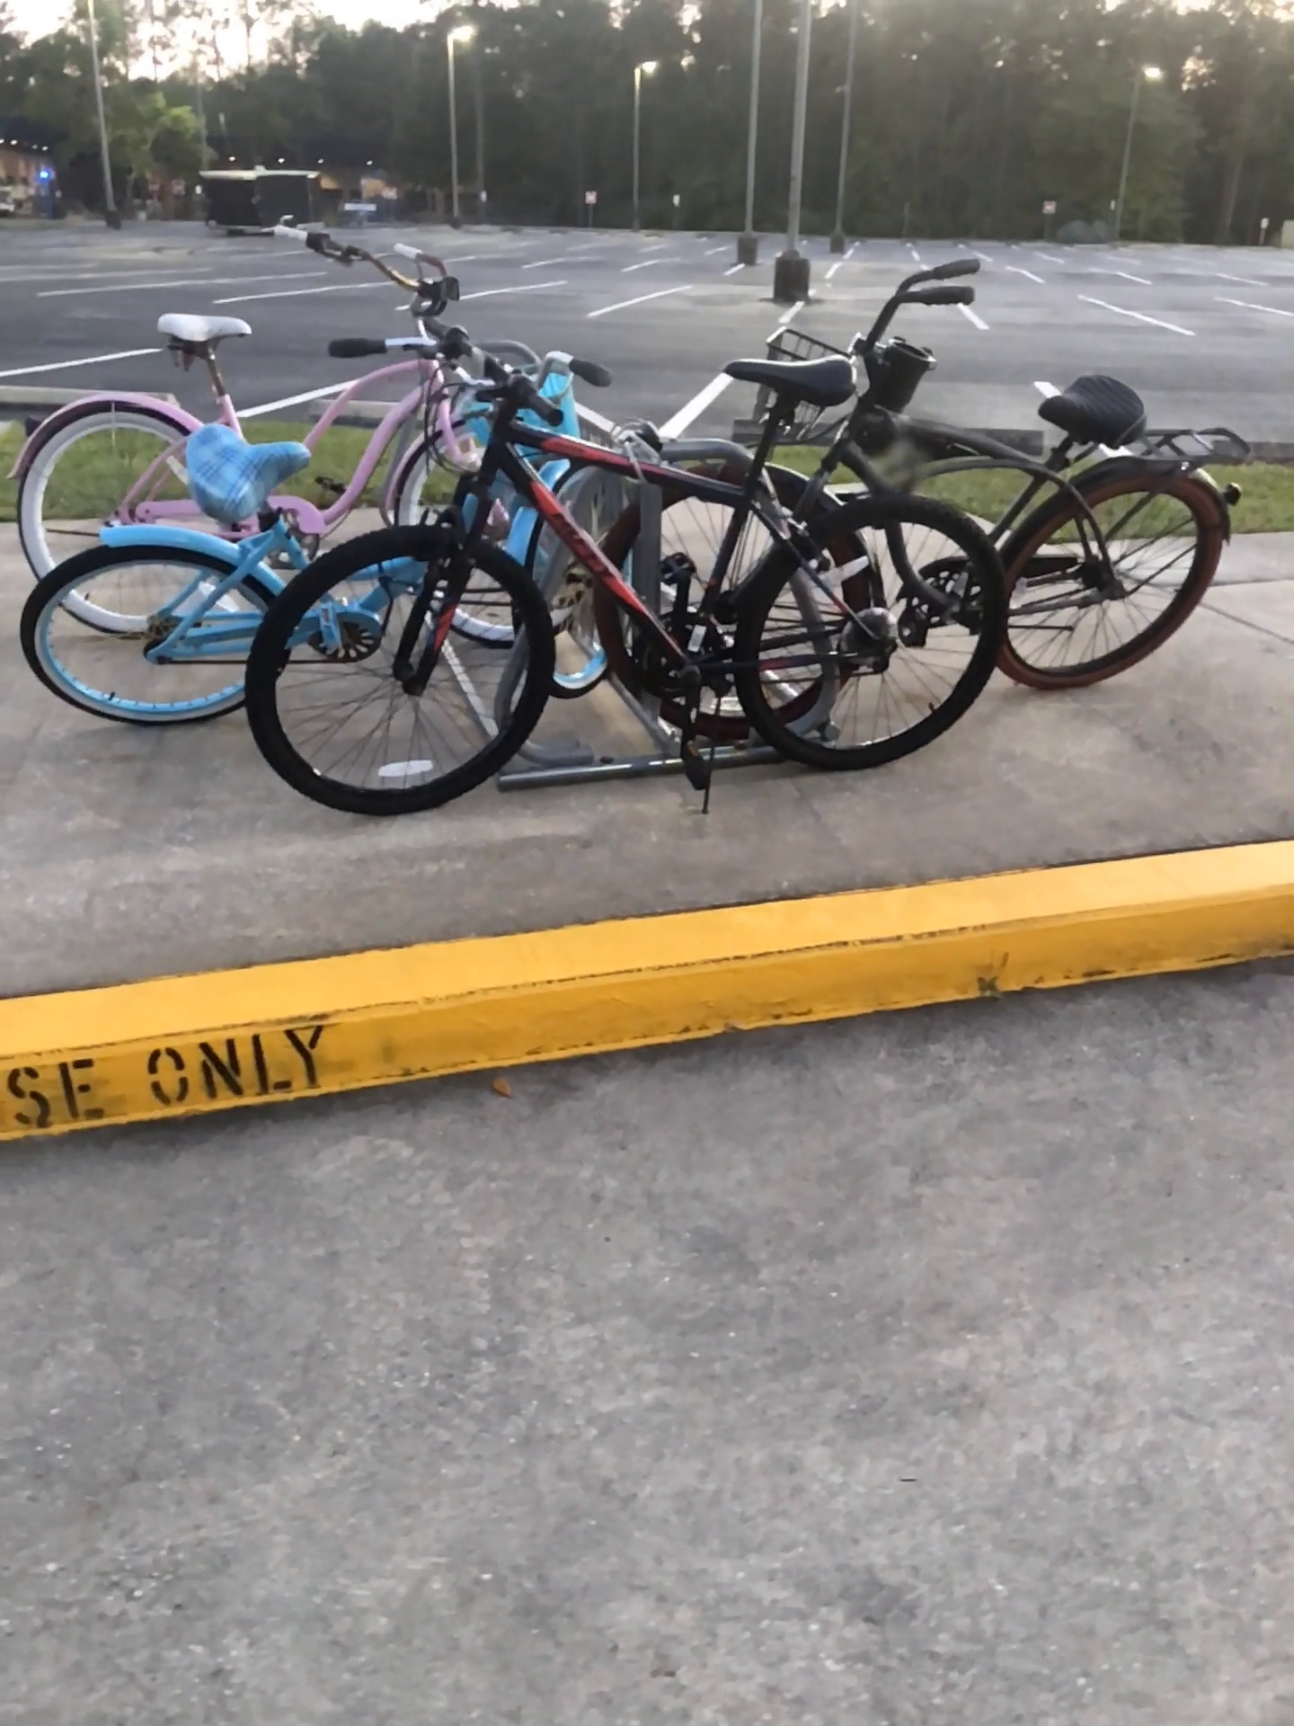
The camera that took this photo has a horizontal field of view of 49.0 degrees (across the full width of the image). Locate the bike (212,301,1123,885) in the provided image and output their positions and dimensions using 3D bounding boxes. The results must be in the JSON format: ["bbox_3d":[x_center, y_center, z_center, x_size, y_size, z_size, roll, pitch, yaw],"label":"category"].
[{"bbox_3d":[0.032,-0.599,2.872,1.630,0.932,0.627,-7,25,-19],"label":"bike"}]
